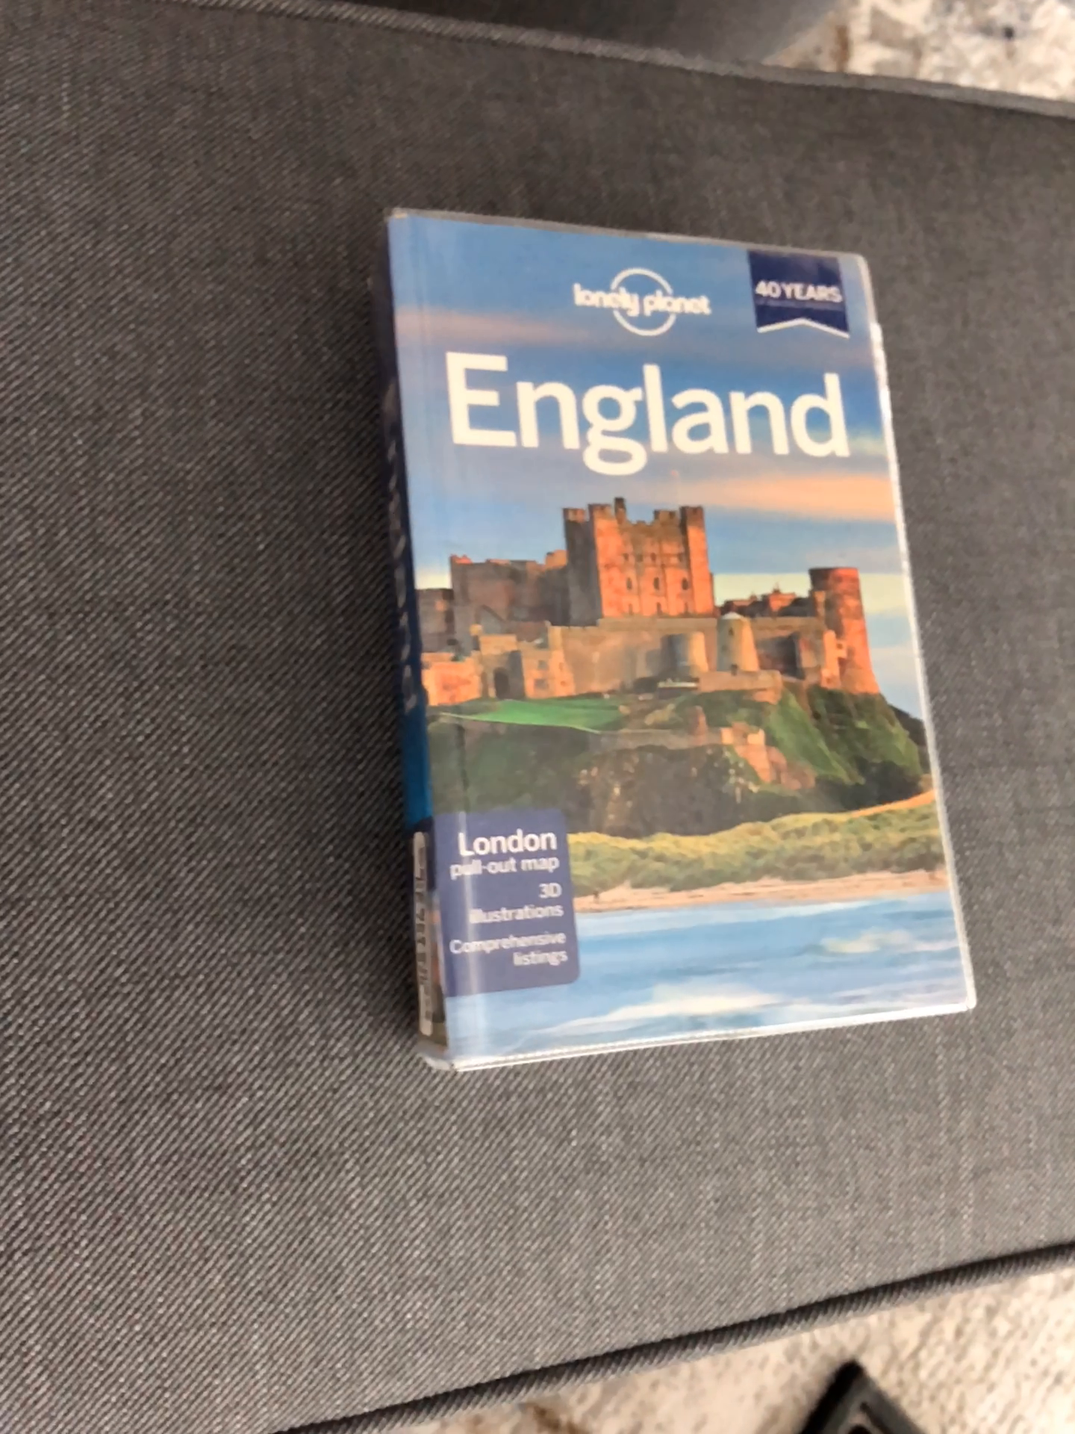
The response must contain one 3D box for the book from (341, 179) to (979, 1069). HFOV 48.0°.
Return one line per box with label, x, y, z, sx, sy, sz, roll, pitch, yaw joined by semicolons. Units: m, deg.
book;0.025;-0.024;0.298;0.136;0.040;0.200;-1;79;-15
